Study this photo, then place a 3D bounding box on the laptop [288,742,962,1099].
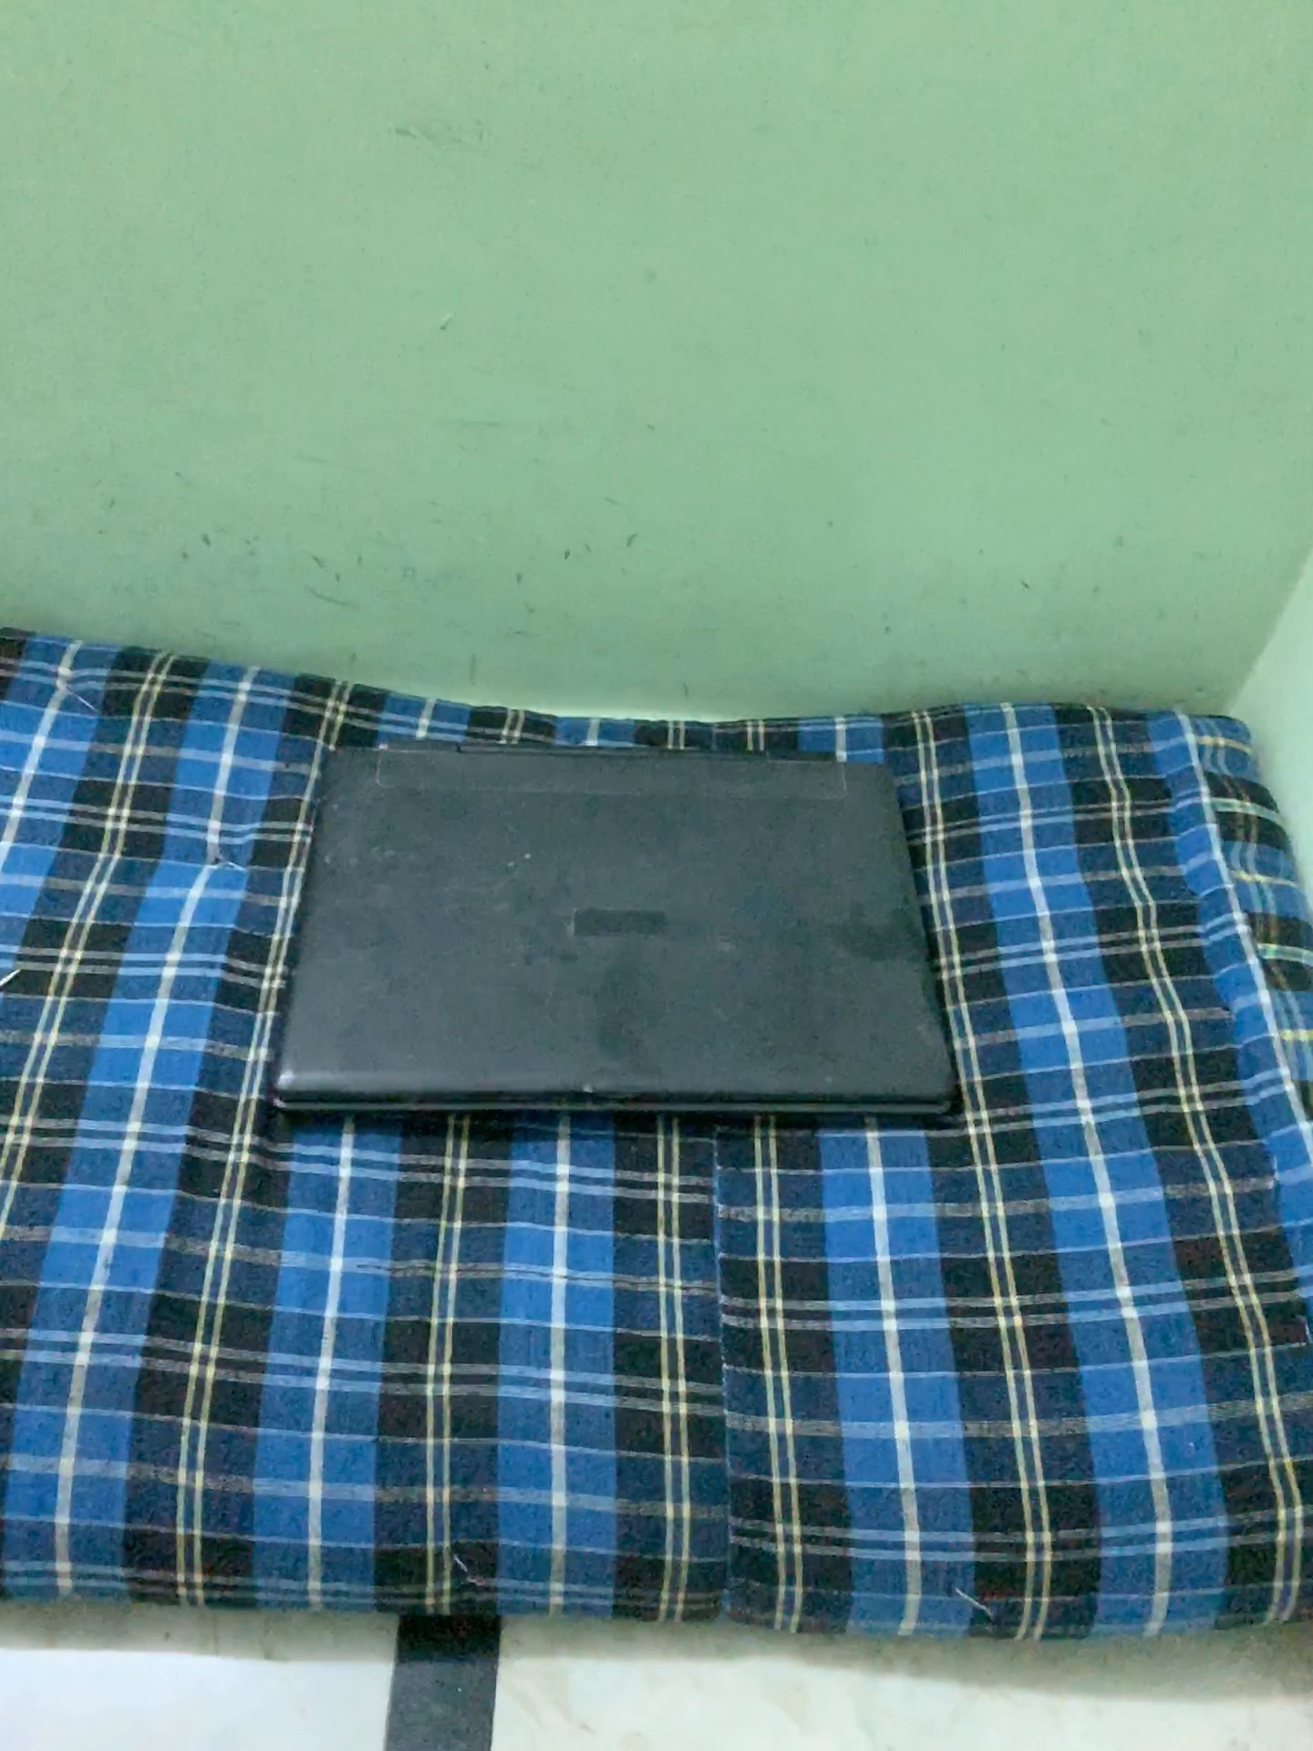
[{"bbox_3d":[-0.014,0.017,0.711,0.323,0.005,0.216,2,52,-4],"label":"laptop"}]
